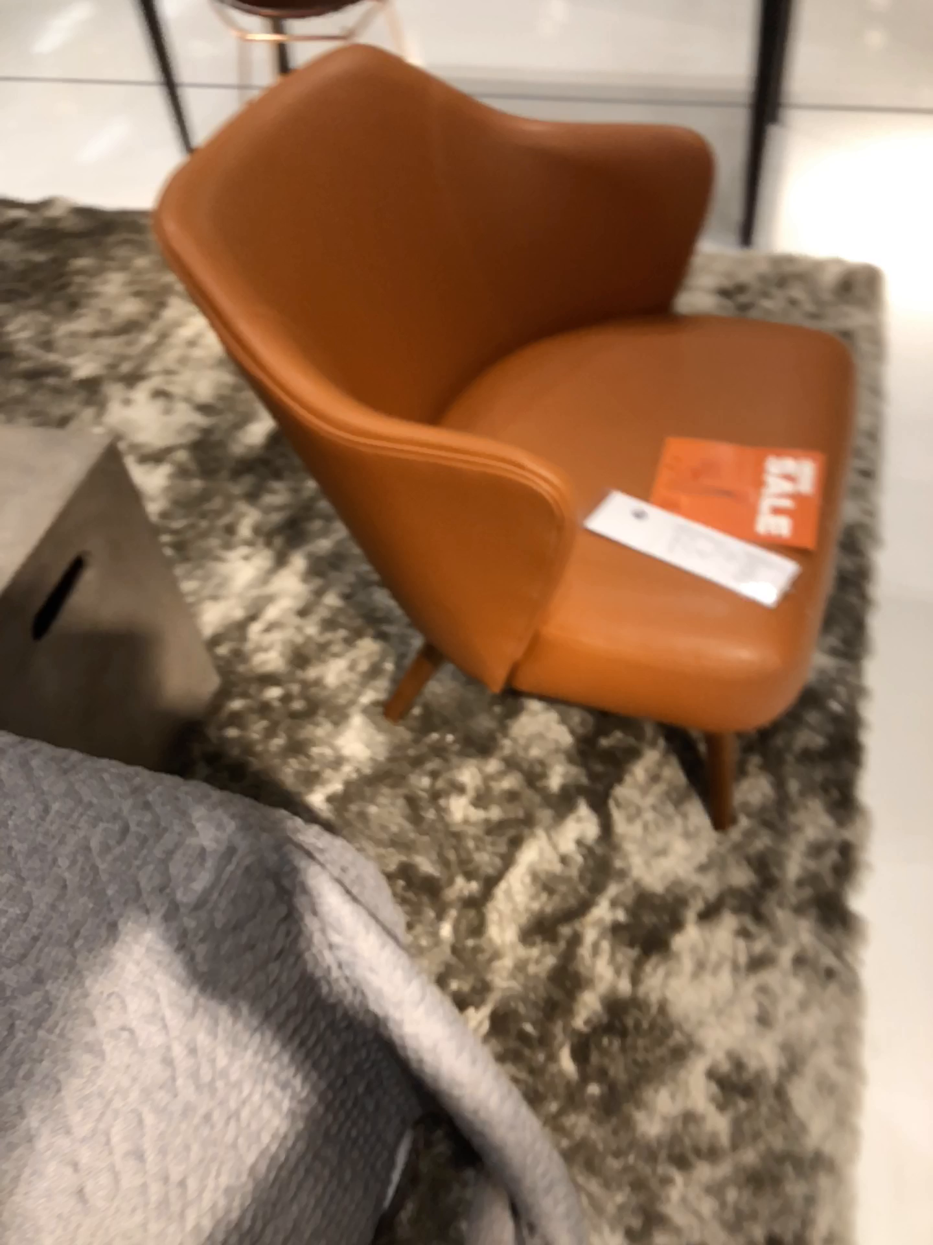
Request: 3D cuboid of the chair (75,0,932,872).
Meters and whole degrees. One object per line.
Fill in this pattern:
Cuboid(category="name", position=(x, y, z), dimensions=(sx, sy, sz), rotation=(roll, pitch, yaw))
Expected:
Cuboid(category="chair", position=(0.108, -0.226, 1.214), dimensions=(0.650, 0.705, 0.594), rotation=(13, 52, 16))
